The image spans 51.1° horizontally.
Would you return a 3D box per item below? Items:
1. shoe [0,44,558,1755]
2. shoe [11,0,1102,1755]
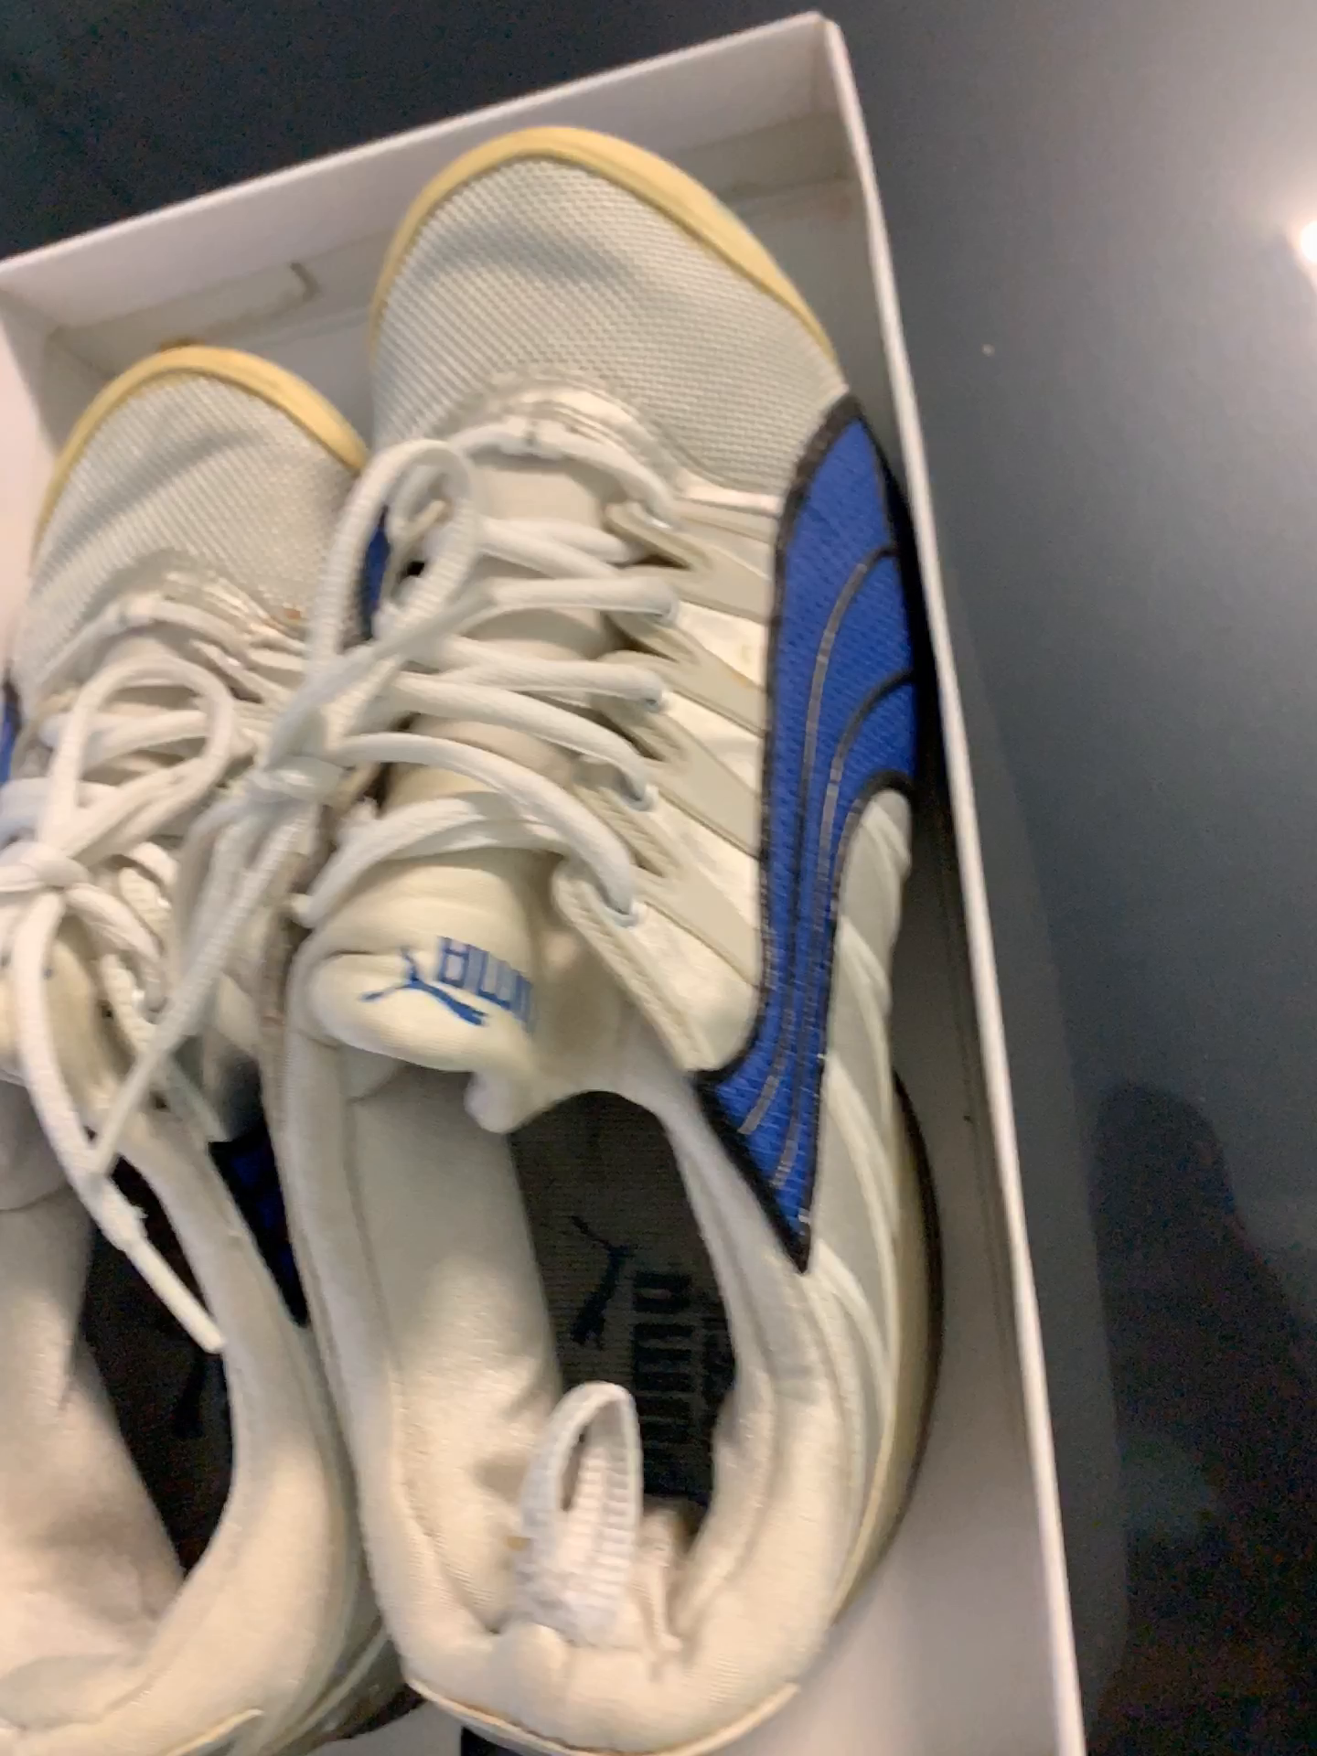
[{"bbox_3d":[-0.091,0.002,0.249,0.110,0.089,0.282,-10,66,14],"label":"shoe"},{"bbox_3d":[-0.005,-0.017,0.225,0.110,0.089,0.282,-7,67,15],"label":"shoe"}]
